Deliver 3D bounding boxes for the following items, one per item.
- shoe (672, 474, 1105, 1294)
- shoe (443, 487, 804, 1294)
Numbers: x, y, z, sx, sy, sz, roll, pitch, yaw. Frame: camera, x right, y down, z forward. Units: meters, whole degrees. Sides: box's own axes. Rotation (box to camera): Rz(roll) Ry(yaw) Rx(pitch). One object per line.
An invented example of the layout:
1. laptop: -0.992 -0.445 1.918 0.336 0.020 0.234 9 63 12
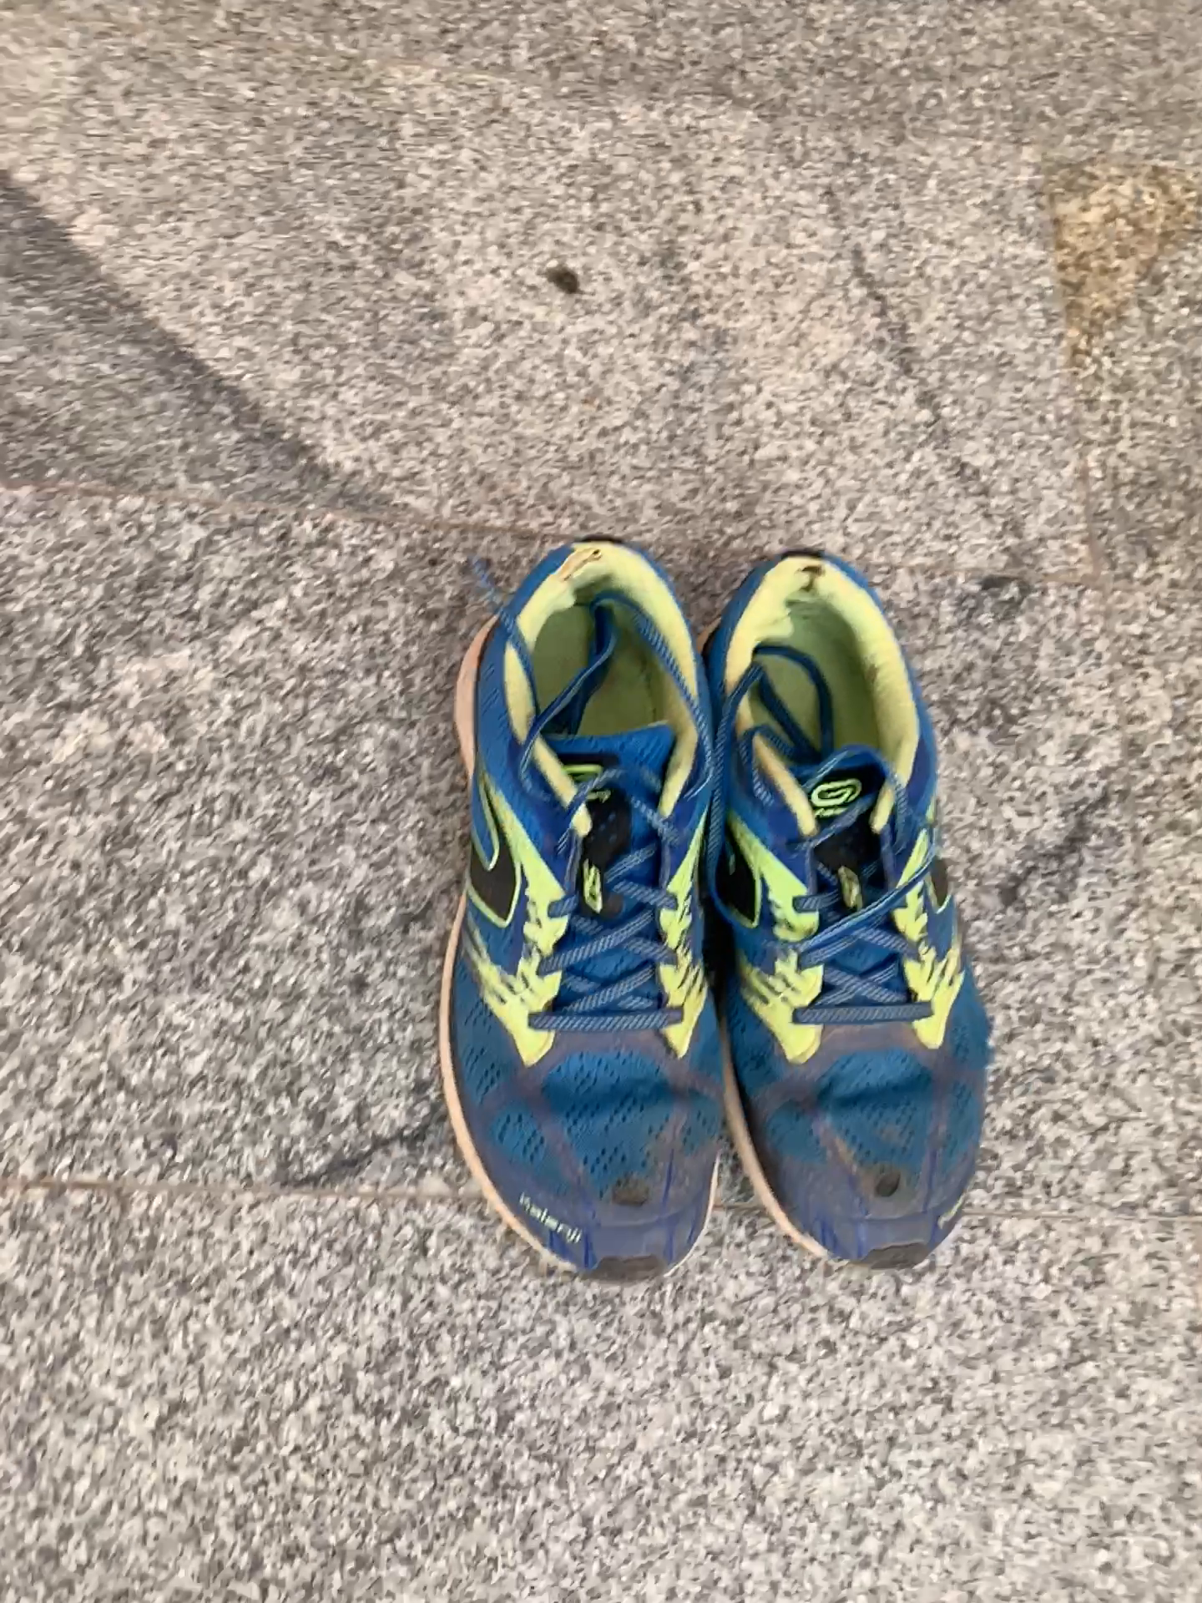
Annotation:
1. shoe: 0.094 0.023 0.463 0.100 0.060 0.291 -7 68 3
2. shoe: 0.000 0.024 0.458 0.110 0.060 0.291 0 68 -5
